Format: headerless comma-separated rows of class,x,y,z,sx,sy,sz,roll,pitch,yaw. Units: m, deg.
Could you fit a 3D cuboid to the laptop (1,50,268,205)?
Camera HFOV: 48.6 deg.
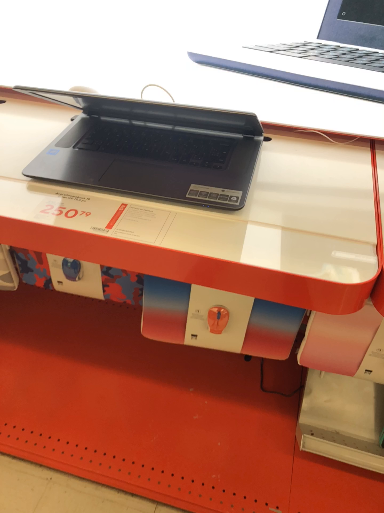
laptop,-0.075,-0.231,0.715,0.363,0.122,0.238,10,42,10
